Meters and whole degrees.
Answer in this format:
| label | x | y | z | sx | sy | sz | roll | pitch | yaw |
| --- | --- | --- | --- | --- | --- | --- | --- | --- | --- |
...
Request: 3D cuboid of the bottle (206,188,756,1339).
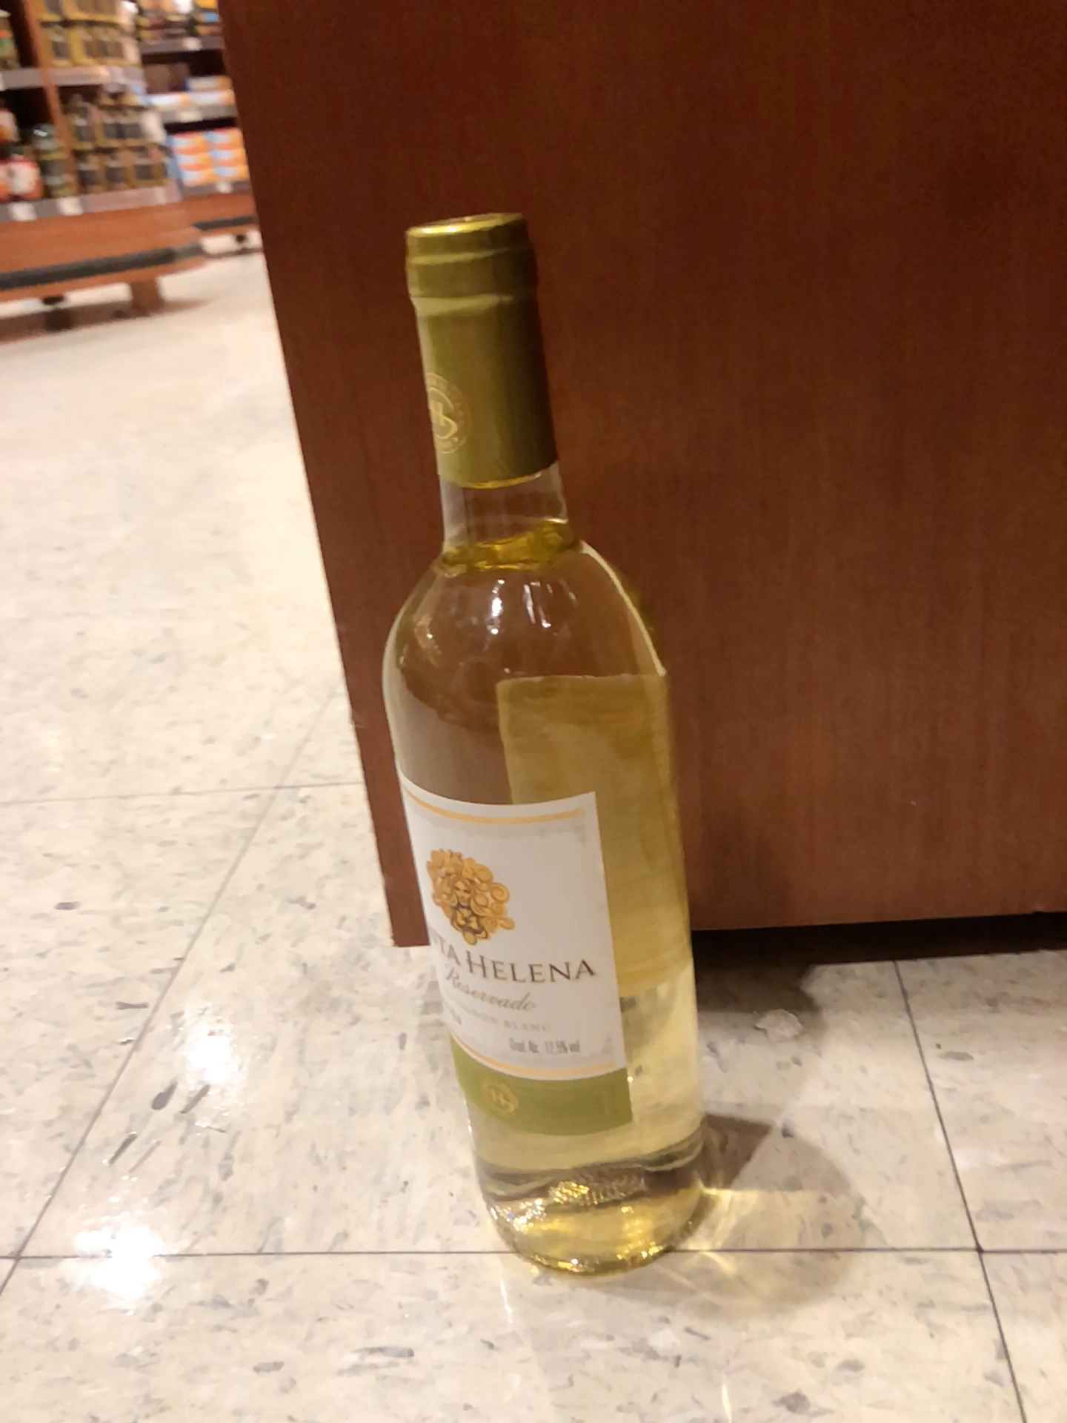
| label | x | y | z | sx | sy | sz | roll | pitch | yaw |
| --- | --- | --- | --- | --- | --- | --- | --- | --- | --- |
| bottle | 0.000 | 0.022 | 0.307 | 0.080 | 0.278 | 0.070 | 13 | 32 | 37 |
